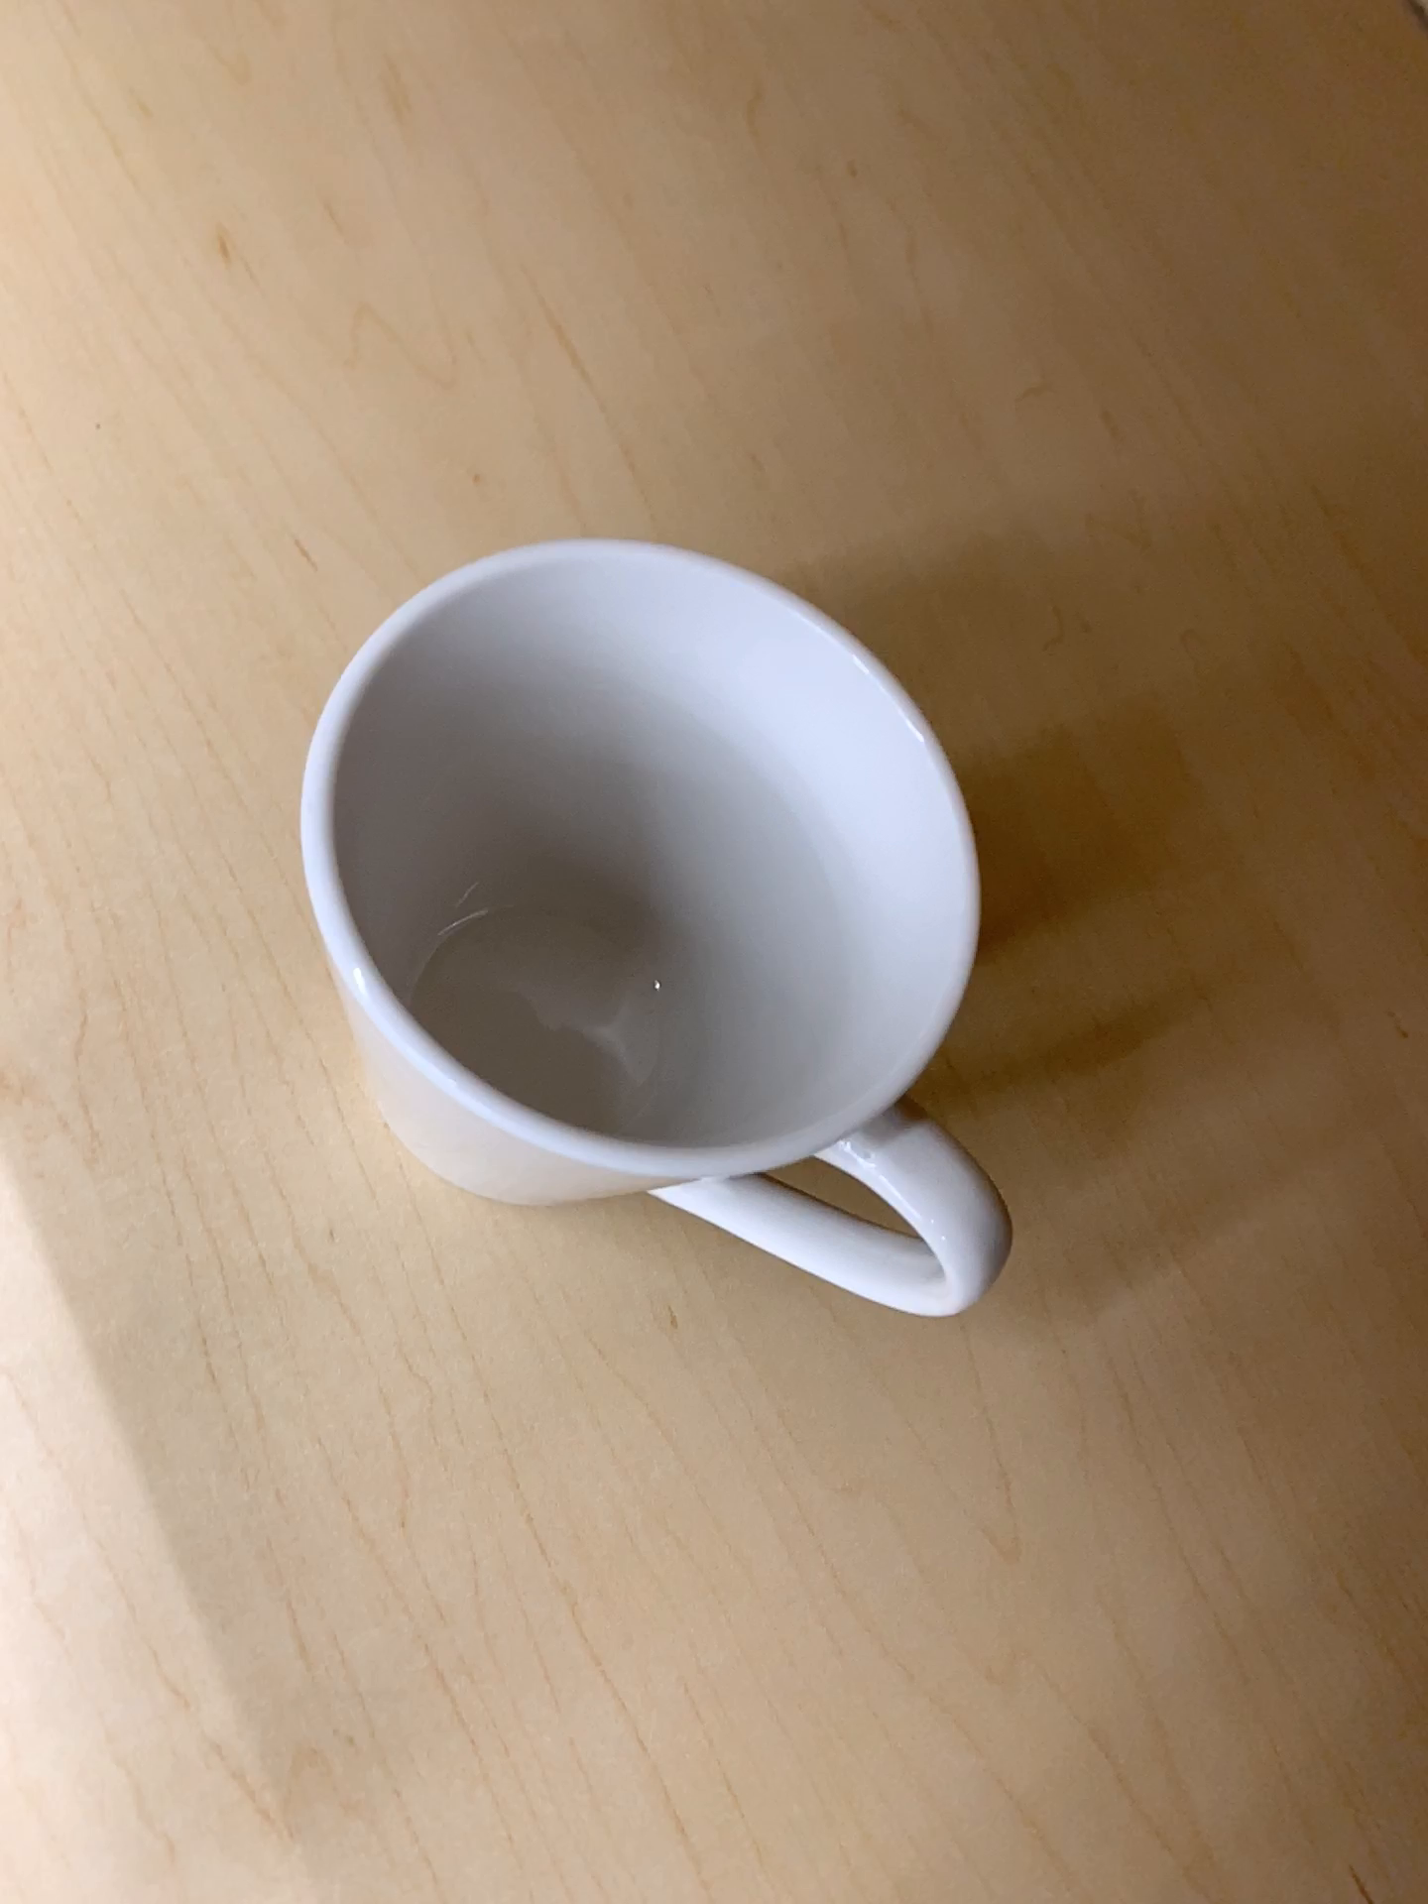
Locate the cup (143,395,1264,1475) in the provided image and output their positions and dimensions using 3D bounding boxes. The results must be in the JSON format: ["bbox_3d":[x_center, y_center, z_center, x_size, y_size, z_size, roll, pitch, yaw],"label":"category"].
[{"bbox_3d":[-0.006,0.005,0.244,0.128,0.090,0.093,40,66,0],"label":"cup"}]
